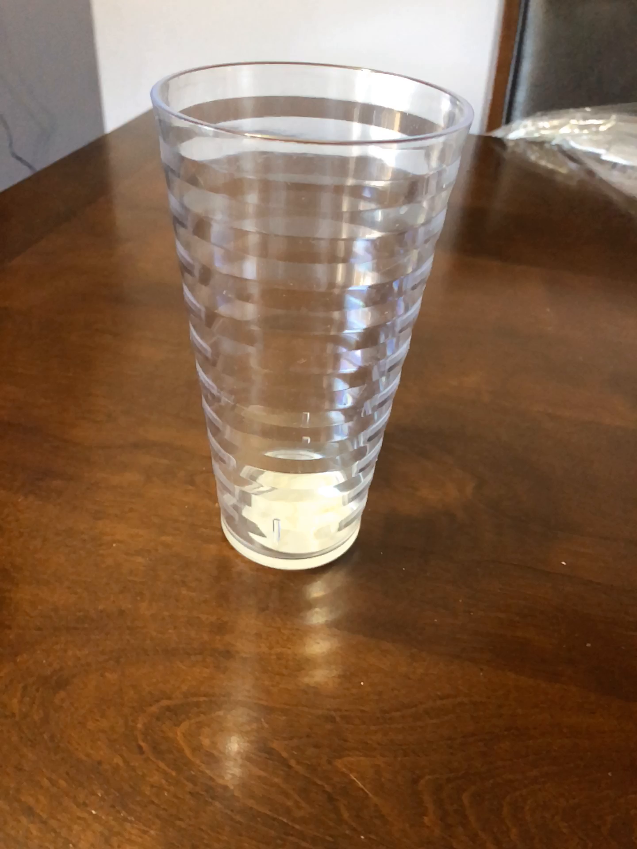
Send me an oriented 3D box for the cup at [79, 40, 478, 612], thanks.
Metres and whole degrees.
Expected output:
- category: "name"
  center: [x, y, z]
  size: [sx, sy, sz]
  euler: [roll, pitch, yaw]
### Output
- category: "cup"
  center: [-0.009, -0.035, 0.275]
  size: [0.100, 0.179, 0.100]
  euler: [3, 37, -2]
